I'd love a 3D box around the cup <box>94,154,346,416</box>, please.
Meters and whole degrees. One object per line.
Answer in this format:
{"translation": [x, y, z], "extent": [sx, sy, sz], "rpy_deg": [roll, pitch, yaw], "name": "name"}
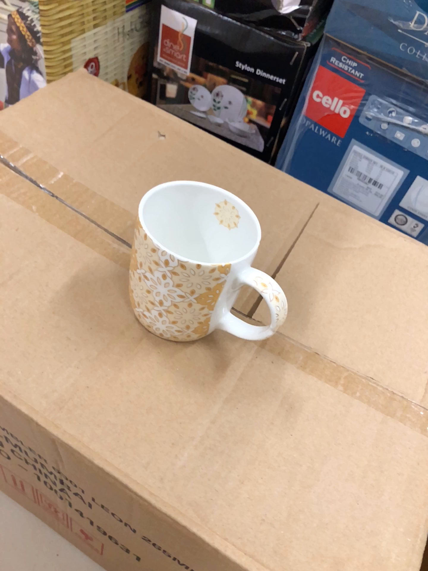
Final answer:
{"translation": [-0.003, -0.003, 0.305], "extent": [0.120, 0.089, 0.080], "rpy_deg": [39, 50, 16], "name": "cup"}
